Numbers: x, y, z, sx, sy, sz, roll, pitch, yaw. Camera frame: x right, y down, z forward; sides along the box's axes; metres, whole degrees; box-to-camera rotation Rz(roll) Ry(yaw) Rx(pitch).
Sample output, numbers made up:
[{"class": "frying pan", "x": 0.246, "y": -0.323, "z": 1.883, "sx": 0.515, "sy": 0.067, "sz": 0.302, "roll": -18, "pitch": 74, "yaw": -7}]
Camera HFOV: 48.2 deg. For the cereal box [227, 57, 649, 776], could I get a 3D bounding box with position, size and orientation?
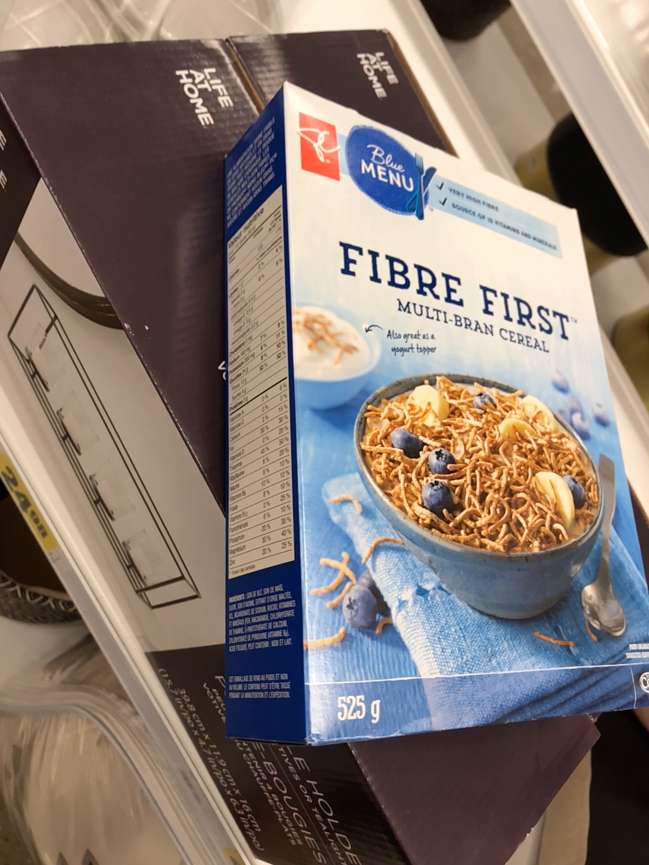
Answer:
[{"class": "cereal box", "x": 0.061, "y": -0.003, "z": 0.326, "sx": 0.201, "sy": 0.060, "sz": 0.260, "roll": 9, "pitch": 69, "yaw": -32}]
